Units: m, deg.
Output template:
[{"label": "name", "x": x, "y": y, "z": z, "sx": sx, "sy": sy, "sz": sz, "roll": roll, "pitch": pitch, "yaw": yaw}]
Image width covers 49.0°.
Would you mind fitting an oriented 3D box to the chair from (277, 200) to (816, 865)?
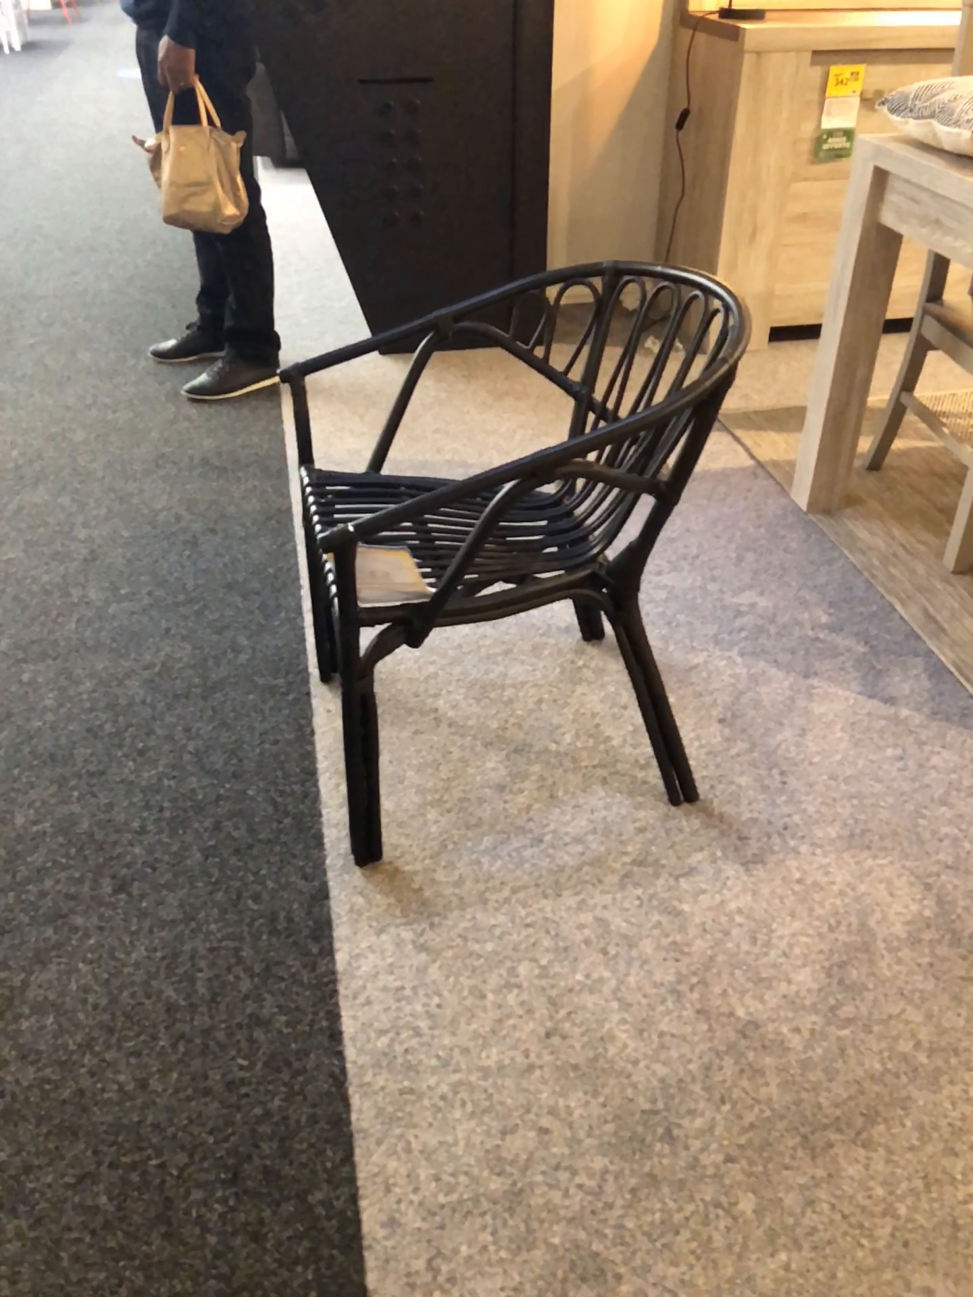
[{"label": "chair", "x": 0.025, "y": -0.180, "z": 1.515, "sx": 0.561, "sy": 0.736, "sz": 0.533, "roll": -5, "pitch": 35, "yaw": -8}]
